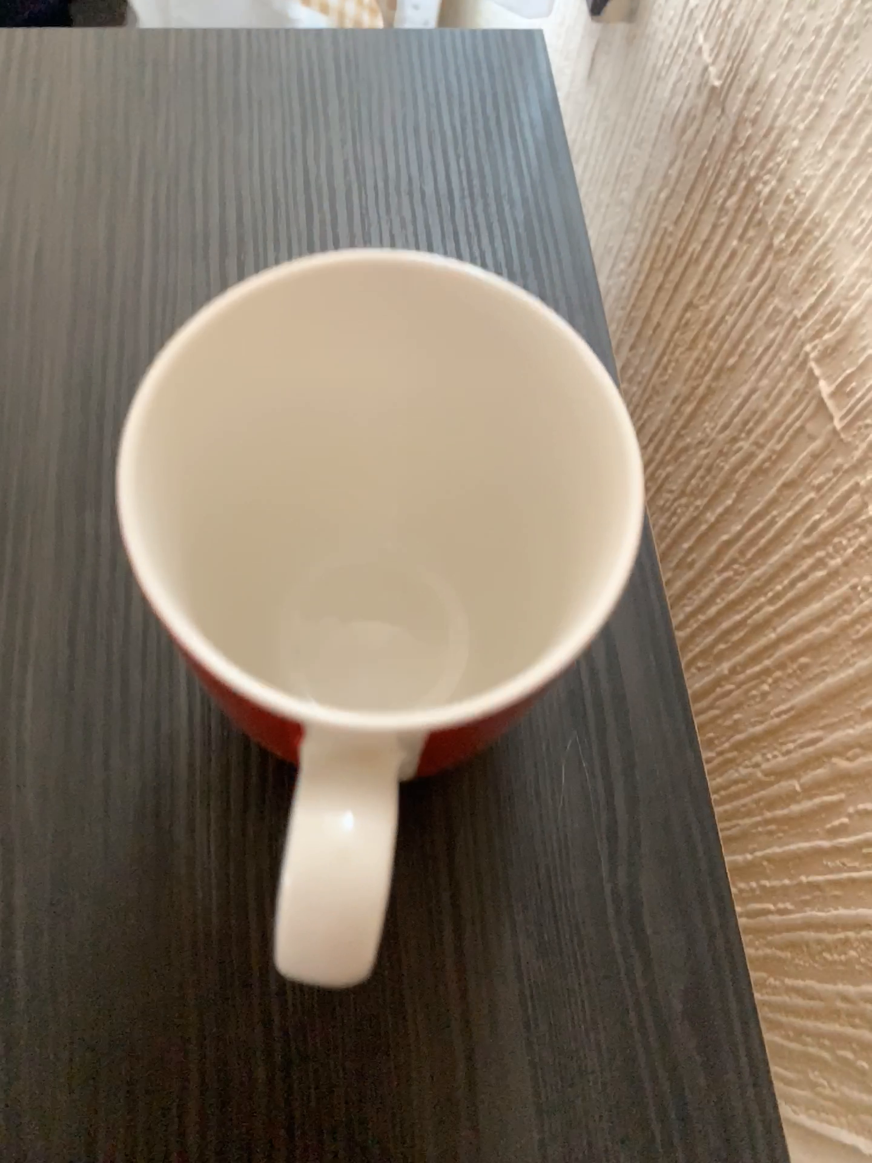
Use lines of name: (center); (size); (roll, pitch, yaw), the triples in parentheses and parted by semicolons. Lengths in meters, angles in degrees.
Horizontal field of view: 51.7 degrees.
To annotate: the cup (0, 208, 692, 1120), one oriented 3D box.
cup: (-0.014, 0.017, 0.172); (0.090, 0.090, 0.131); (5, 68, -3)
